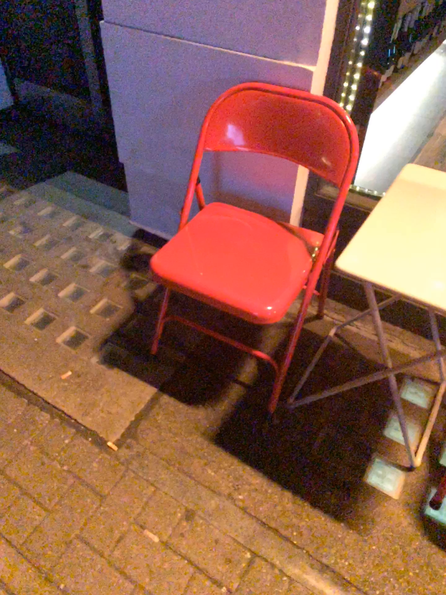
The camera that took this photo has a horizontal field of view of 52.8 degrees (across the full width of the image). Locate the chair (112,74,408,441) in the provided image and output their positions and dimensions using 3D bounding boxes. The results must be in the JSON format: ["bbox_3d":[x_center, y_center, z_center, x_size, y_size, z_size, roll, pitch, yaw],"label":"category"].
[{"bbox_3d":[0.101,-0.111,1.255,0.471,0.742,0.534,23,47,20],"label":"chair"}]
